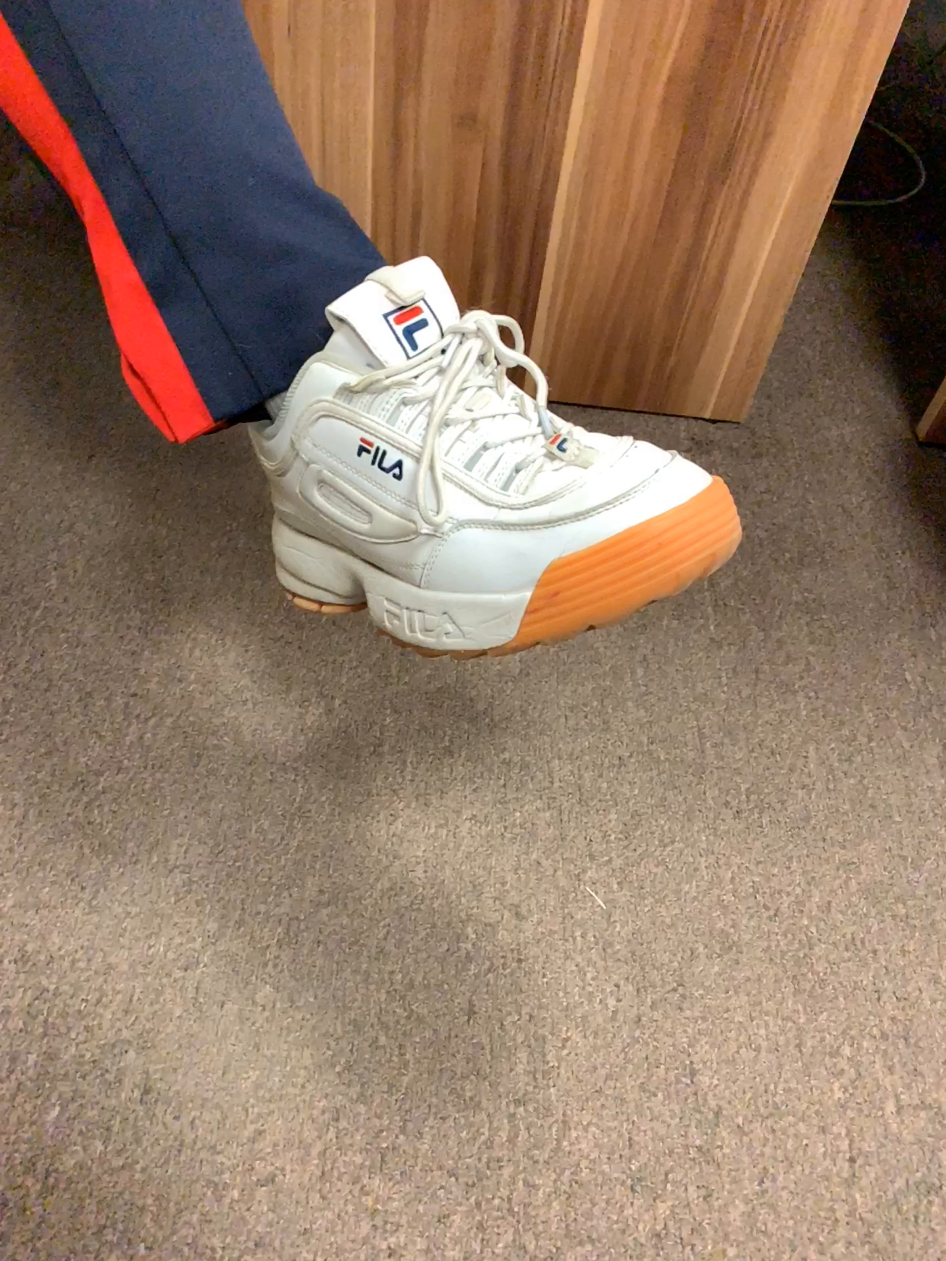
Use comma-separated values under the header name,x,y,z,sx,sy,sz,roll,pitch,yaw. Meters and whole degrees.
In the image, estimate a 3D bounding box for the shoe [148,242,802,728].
name,x,y,z,sx,sy,sz,roll,pitch,yaw
shoe,-0.004,-0.082,0.411,0.230,0.130,0.130,21,39,39
